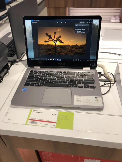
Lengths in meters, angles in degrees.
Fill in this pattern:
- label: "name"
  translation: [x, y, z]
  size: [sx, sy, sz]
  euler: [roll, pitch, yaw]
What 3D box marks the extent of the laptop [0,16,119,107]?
- label: "laptop"
  translation: [-0.008, -0.087, 0.499]
  size: [0.319, 0.211, 0.291]
  euler: [1, 40, 4]
